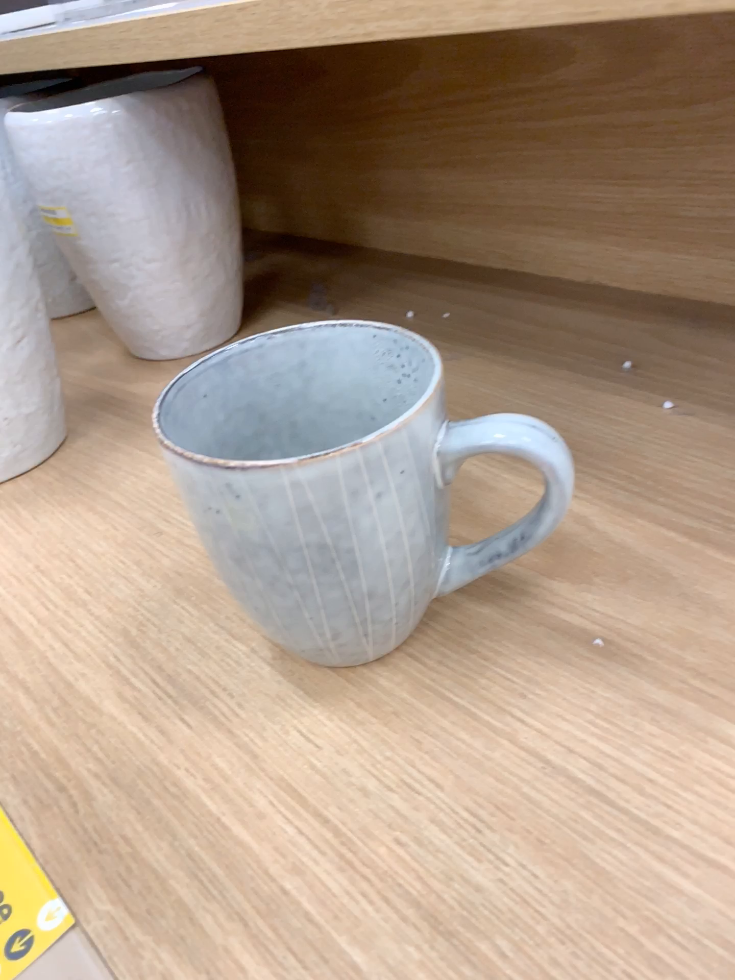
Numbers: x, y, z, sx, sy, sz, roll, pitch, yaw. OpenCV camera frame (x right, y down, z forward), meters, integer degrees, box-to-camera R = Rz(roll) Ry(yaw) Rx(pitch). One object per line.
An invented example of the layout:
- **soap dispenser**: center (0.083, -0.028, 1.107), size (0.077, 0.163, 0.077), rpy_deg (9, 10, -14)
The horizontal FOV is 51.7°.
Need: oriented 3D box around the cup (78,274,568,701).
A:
- **cup**: center (0.000, -0.005, 0.275), size (0.136, 0.098, 0.108), rpy_deg (1, 39, 17)
